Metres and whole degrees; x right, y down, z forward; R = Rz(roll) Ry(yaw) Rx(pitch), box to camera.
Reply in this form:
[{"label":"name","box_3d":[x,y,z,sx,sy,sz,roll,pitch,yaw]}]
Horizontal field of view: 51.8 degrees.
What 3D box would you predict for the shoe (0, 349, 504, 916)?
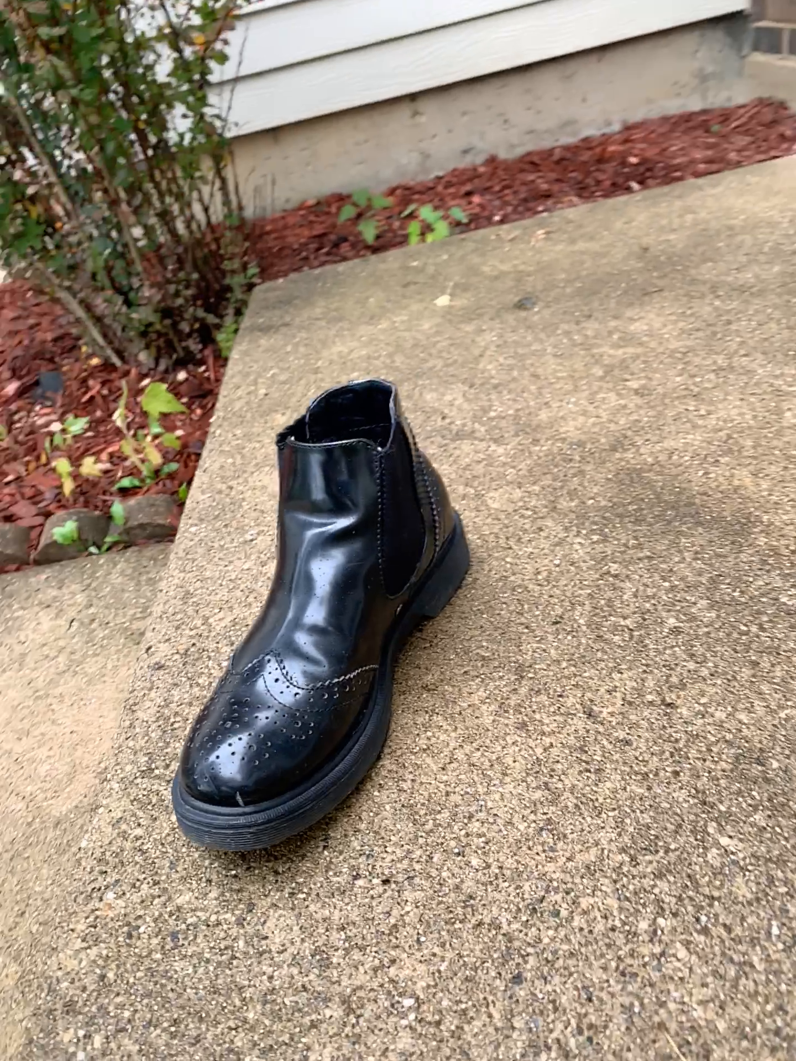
[{"label":"shoe","box_3d":[-0.052,0.028,0.445,0.118,0.148,0.268,5,38,27]}]
